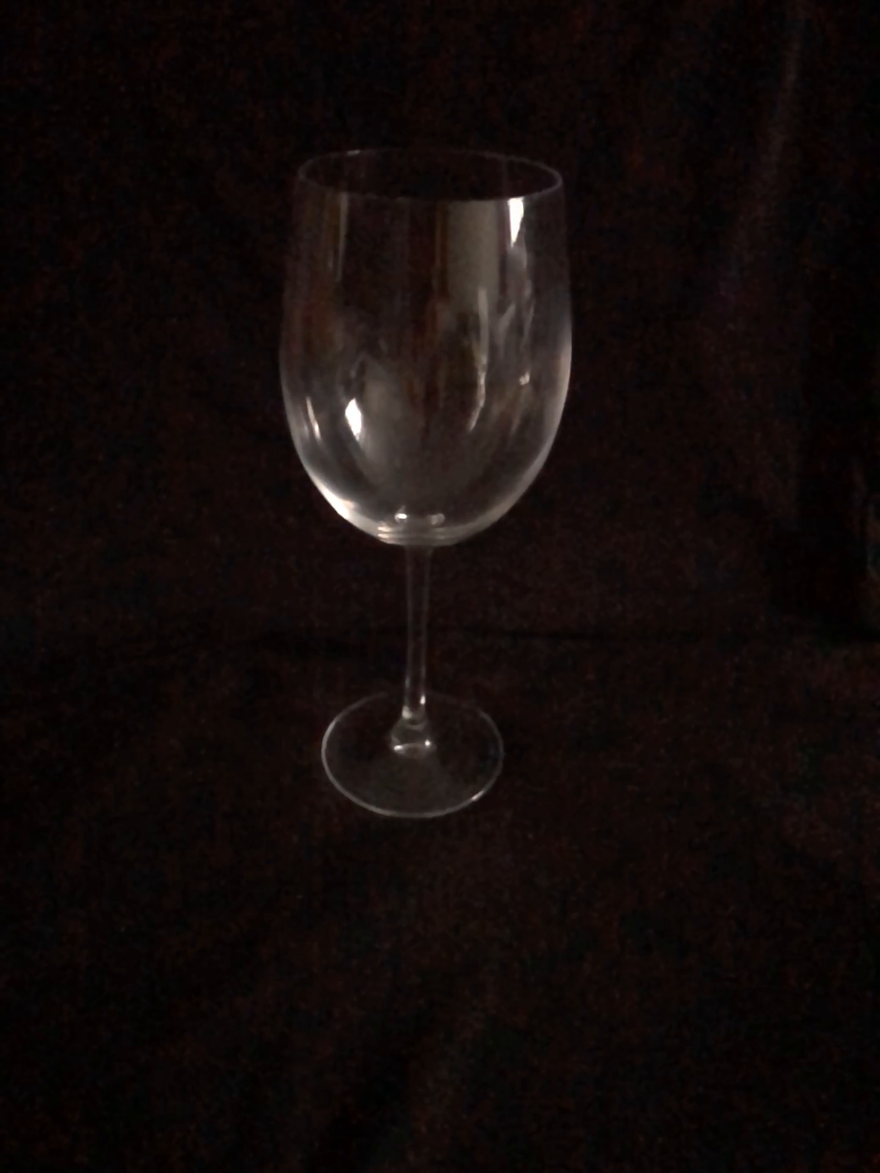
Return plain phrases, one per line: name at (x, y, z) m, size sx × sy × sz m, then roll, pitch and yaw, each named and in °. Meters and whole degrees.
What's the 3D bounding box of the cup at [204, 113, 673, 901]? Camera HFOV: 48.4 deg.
cup at (-0.001, -0.023, 0.377) m, size 0.100 × 0.266 × 0.103 m, roll 0°, pitch 36°, yaw 0°
